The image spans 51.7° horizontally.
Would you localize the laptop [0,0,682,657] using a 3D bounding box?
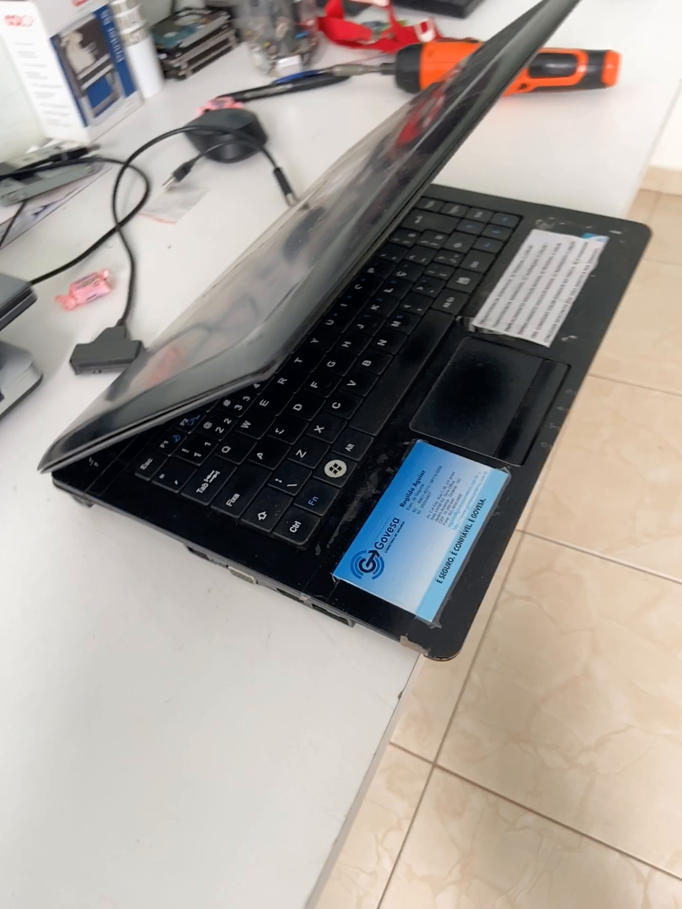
[{"bbox_3d":[0.018,-0.116,0.369,0.227,0.144,0.336,19,56,23],"label":"laptop"}]
